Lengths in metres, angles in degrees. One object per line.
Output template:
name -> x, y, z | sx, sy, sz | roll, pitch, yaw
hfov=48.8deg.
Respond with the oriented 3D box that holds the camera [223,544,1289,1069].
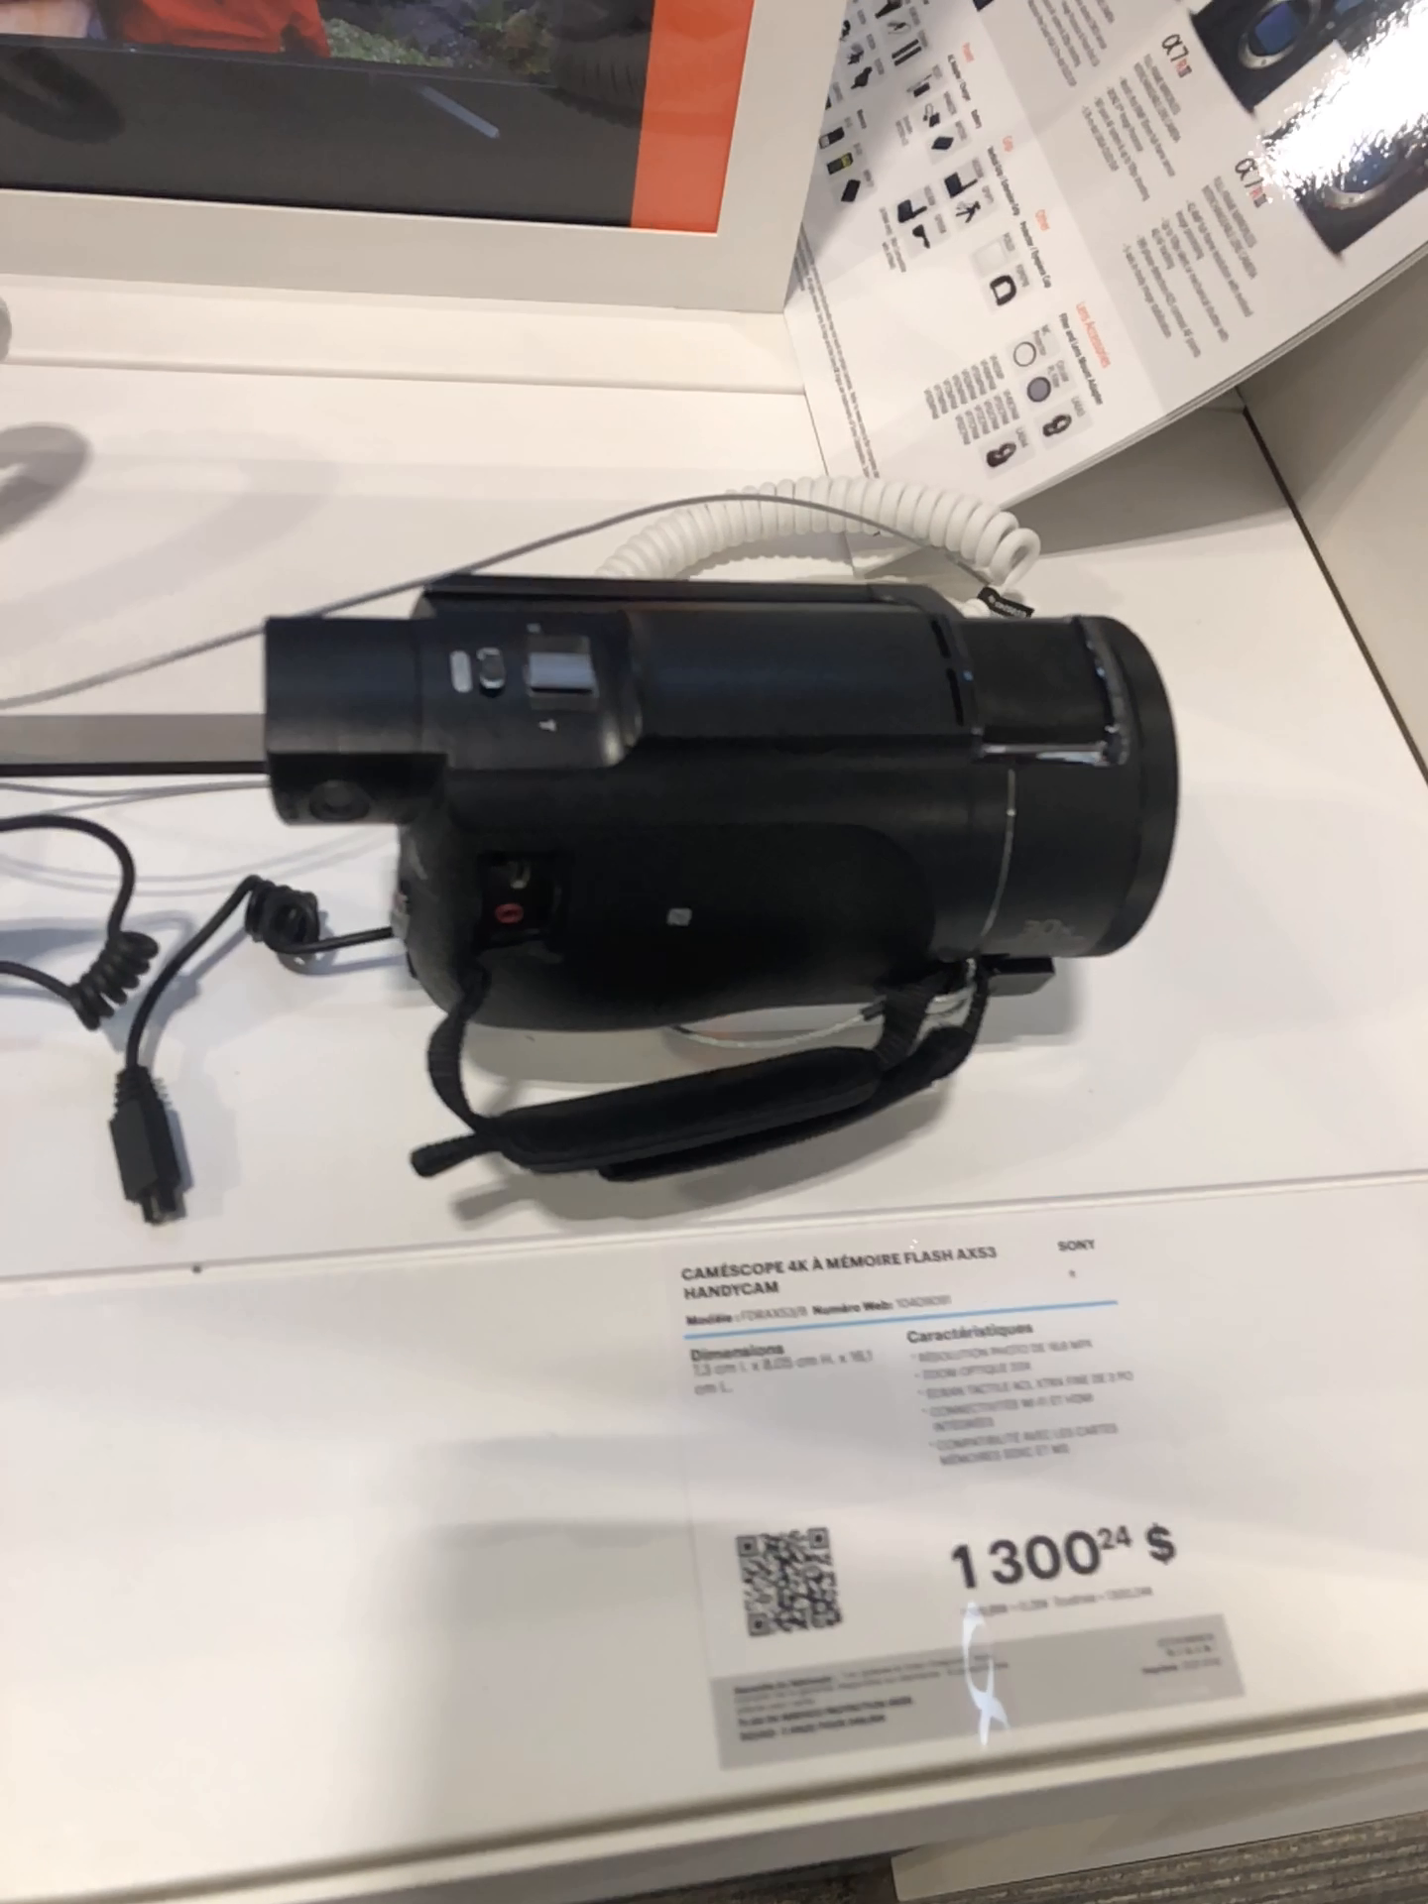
camera -> 0.003, -0.027, 0.285 | 0.168, 0.066, 0.061 | -2, 56, -12
